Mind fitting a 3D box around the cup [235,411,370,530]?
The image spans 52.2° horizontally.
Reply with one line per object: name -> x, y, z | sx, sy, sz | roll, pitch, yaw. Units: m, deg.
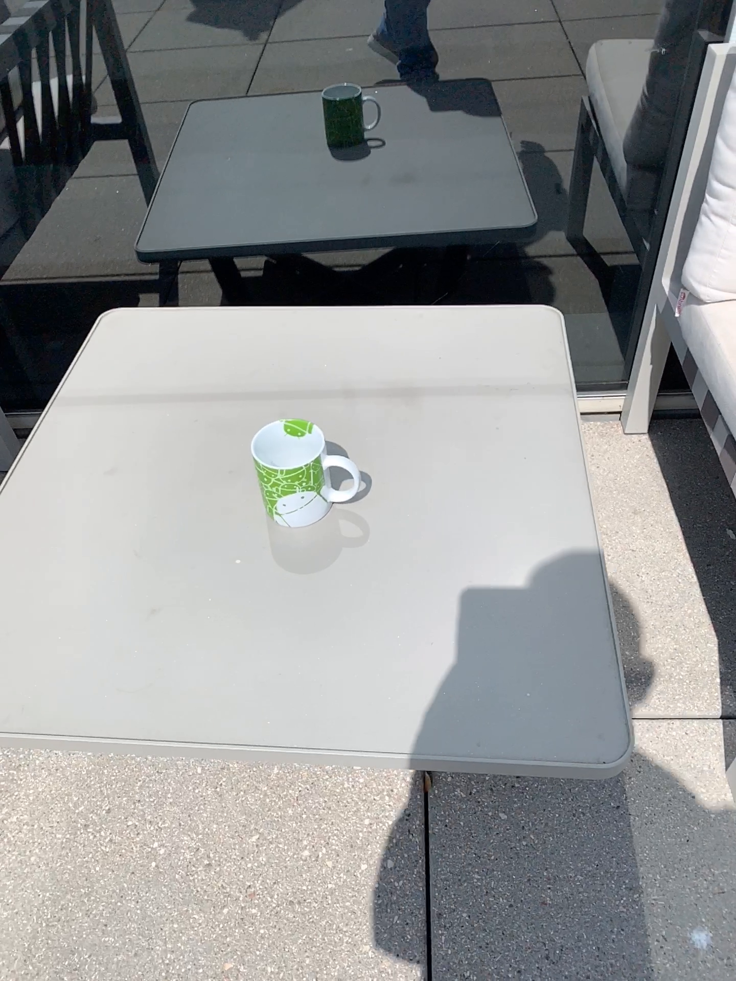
cup -> -0.067, -0.021, 0.817 | 0.130, 0.090, 0.080 | -4, 47, 2

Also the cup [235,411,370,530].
cup -> -0.067, -0.021, 0.817 | 0.130, 0.090, 0.080 | -4, 47, 2
